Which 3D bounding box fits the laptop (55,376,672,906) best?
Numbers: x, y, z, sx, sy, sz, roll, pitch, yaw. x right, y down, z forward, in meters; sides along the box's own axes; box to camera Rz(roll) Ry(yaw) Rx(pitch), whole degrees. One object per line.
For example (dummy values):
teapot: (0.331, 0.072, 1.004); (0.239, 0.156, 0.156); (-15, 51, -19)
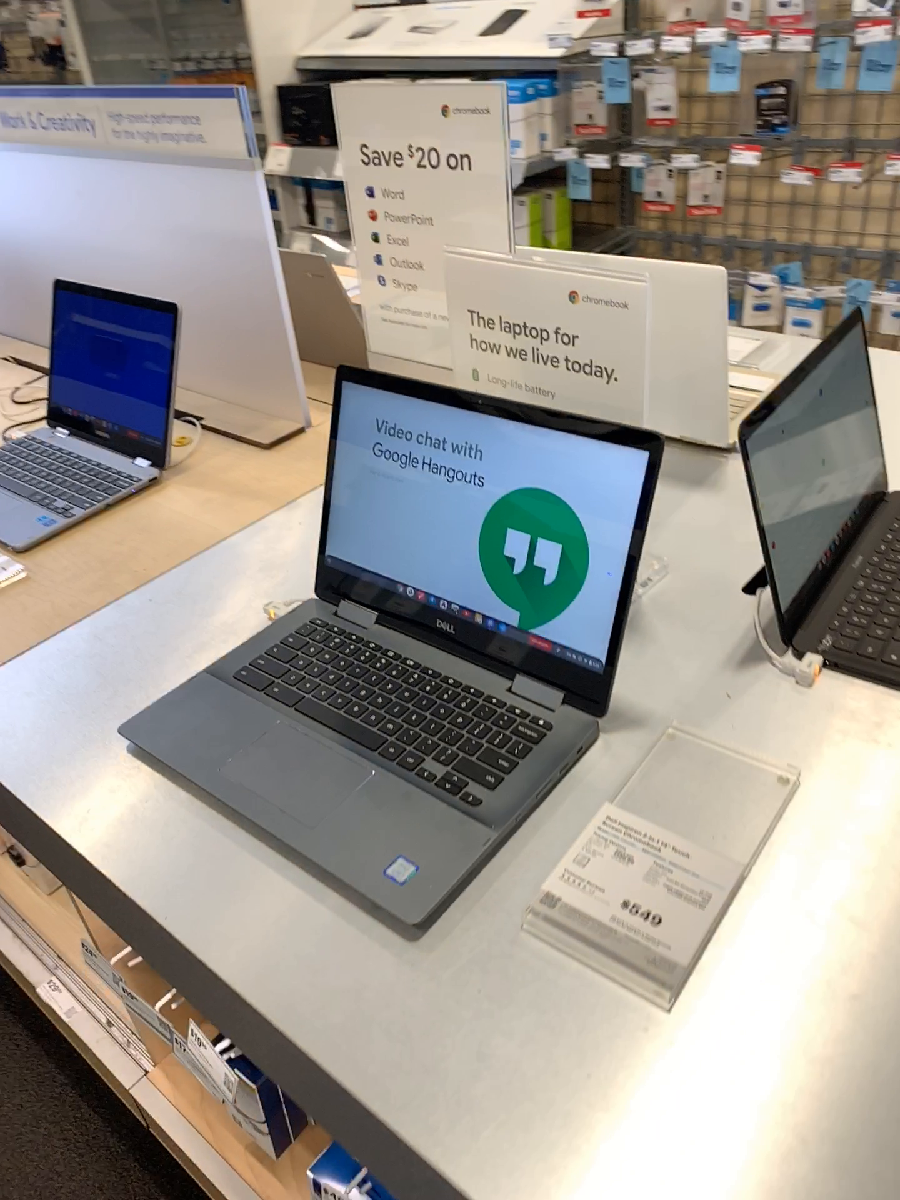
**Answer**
laptop: (-0.052, -0.004, 0.695); (0.310, 0.202, 0.293); (22, 42, 36)
